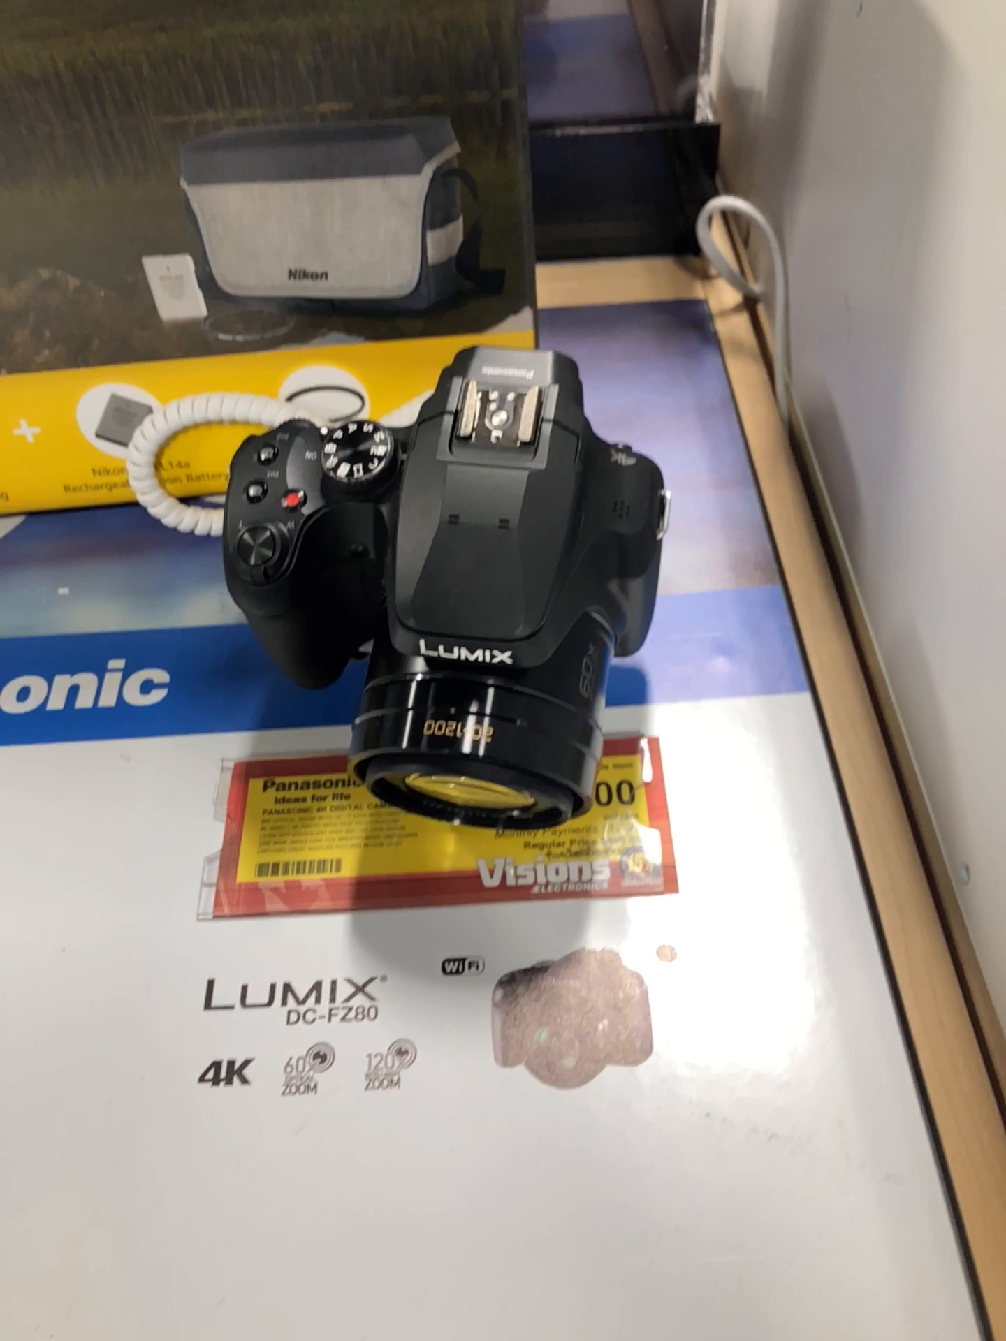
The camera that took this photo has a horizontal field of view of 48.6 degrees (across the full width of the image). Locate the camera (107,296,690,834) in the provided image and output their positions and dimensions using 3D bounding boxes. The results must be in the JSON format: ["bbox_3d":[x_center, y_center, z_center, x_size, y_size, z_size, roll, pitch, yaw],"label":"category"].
[{"bbox_3d":[-0.016,-0.025,0.300,0.120,0.099,0.100,4,64,8],"label":"camera"}]
